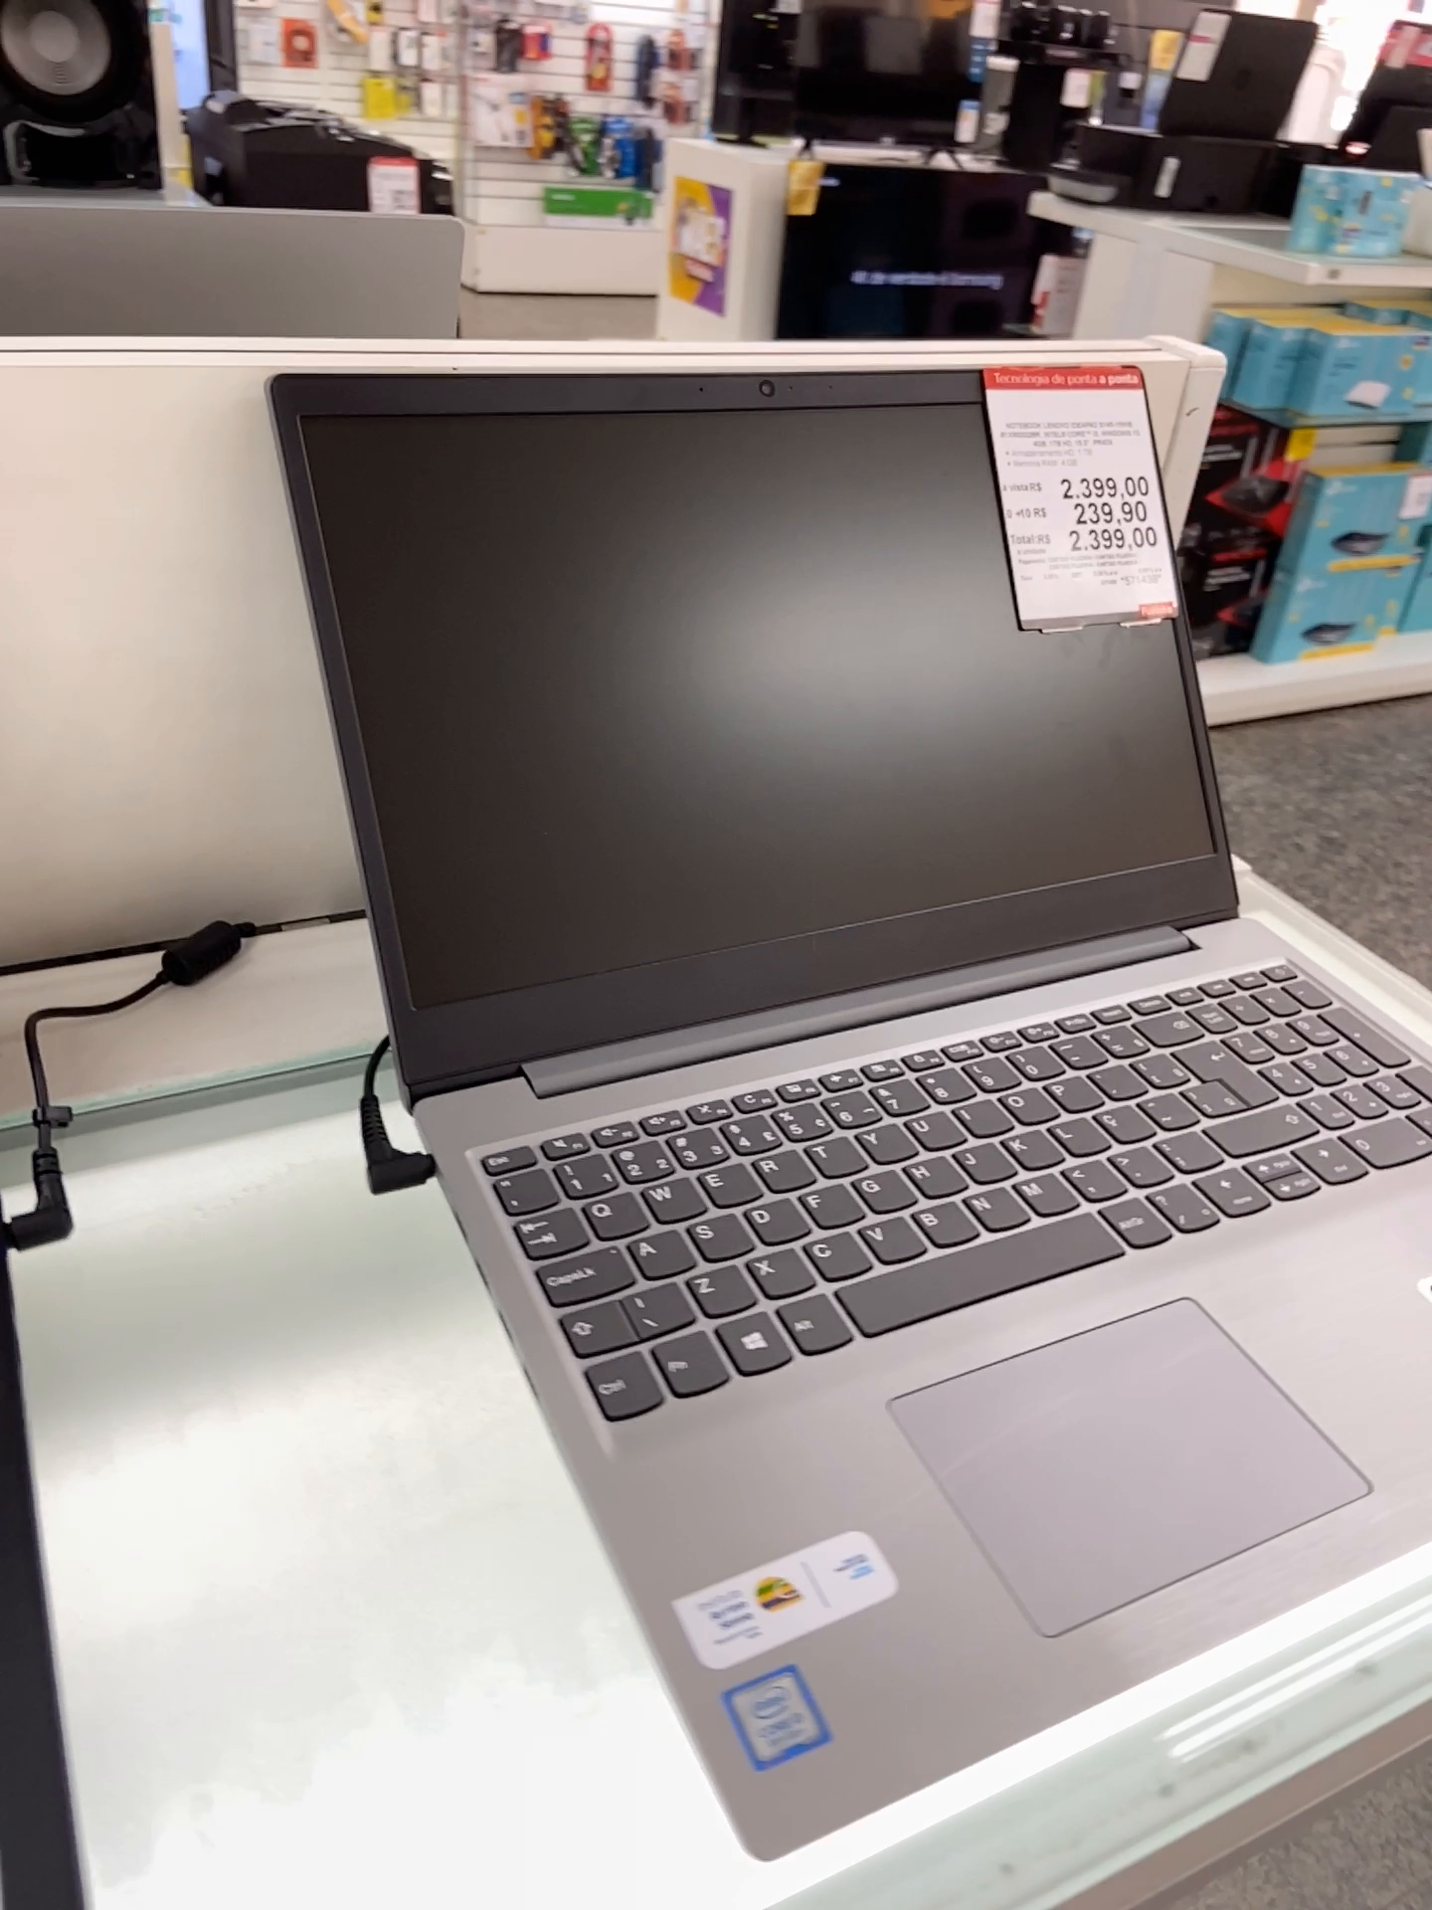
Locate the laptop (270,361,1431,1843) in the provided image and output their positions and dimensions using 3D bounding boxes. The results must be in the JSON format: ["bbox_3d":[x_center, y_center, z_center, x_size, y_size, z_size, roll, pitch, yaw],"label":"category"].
[{"bbox_3d":[0.096,-0.039,0.472,0.370,0.192,0.403,-10,37,-24],"label":"laptop"}]
